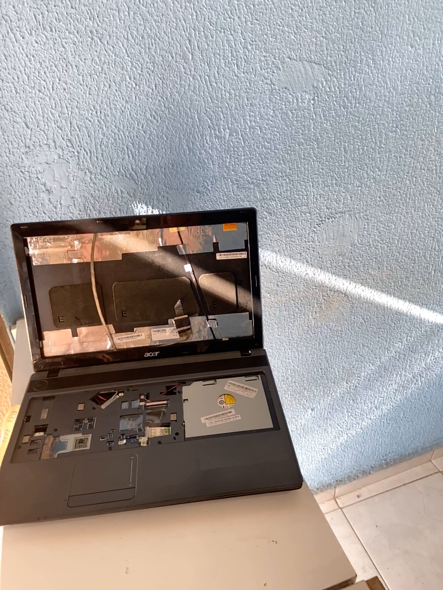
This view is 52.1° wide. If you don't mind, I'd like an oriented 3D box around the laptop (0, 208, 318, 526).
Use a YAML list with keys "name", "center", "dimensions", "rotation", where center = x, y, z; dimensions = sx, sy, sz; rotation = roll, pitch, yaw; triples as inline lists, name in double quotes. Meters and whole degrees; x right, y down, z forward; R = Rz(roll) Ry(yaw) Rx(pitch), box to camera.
- name: "laptop"
  center: [-0.110, 0.064, 0.626]
  dimensions: [0.378, 0.210, 0.351]
  rotation: [-5, 34, -4]
